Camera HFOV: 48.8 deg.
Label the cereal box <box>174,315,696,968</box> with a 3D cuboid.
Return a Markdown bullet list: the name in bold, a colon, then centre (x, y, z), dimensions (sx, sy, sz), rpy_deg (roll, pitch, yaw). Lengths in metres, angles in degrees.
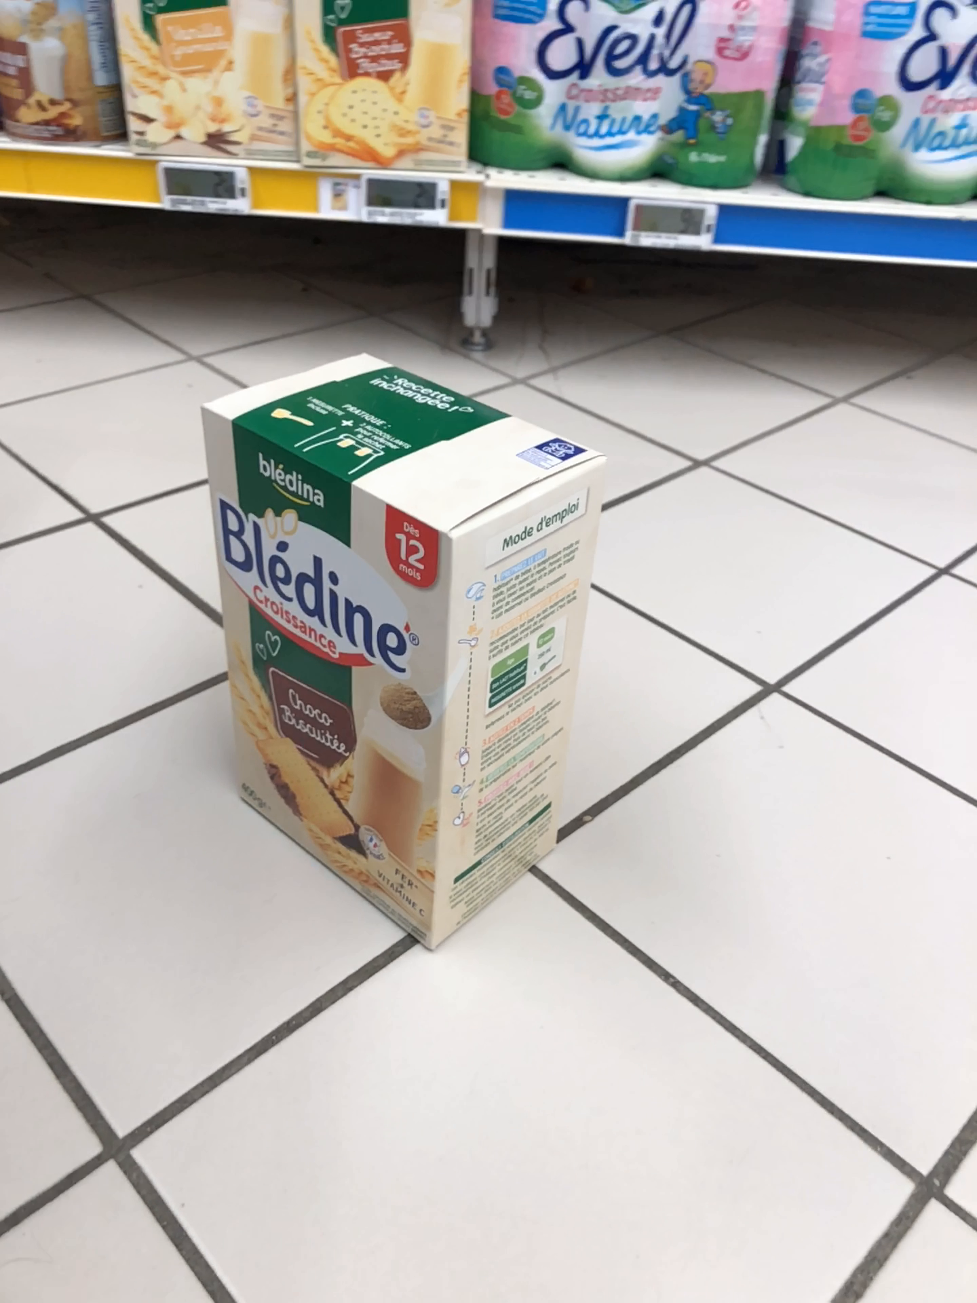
- **cereal box**: centre (-0.026, -0.011, 0.451), dimensions (0.150, 0.199, 0.121), rpy_deg (29, 41, 31)
